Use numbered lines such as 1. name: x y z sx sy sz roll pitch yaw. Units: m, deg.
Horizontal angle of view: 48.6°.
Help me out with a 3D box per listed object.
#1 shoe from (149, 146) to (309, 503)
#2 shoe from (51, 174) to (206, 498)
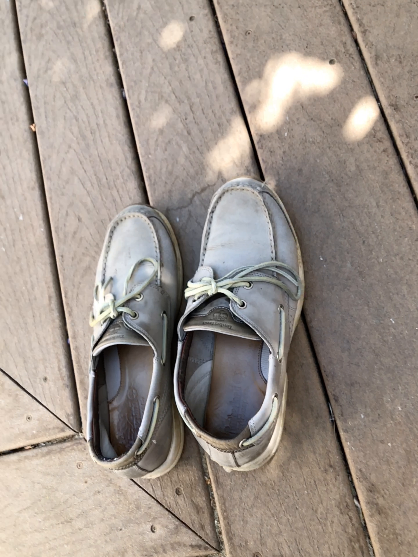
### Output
1. shoe: 0.029 0.038 0.469 0.122 0.098 0.312 0 79 20
2. shoe: -0.090 0.060 0.508 0.119 0.096 0.310 -10 76 18
